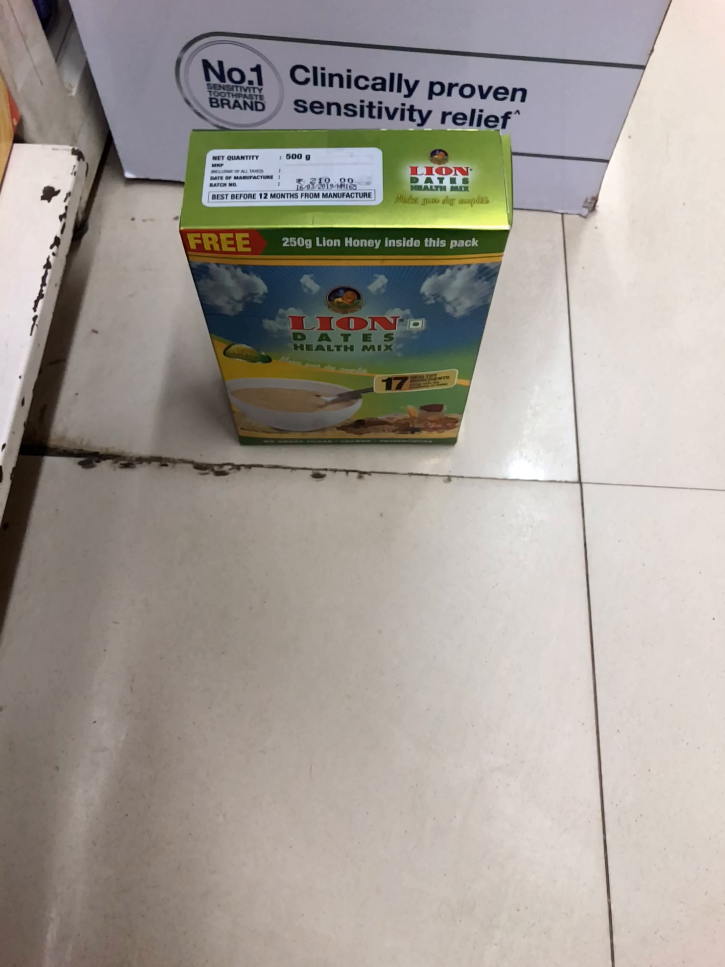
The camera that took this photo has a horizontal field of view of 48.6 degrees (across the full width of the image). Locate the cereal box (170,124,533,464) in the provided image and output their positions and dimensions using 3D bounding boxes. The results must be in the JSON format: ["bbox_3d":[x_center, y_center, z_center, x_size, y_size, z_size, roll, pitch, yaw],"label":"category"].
[{"bbox_3d":[-0.004,-0.082,0.406,0.140,0.179,0.070,0,64,0],"label":"cereal box"}]
